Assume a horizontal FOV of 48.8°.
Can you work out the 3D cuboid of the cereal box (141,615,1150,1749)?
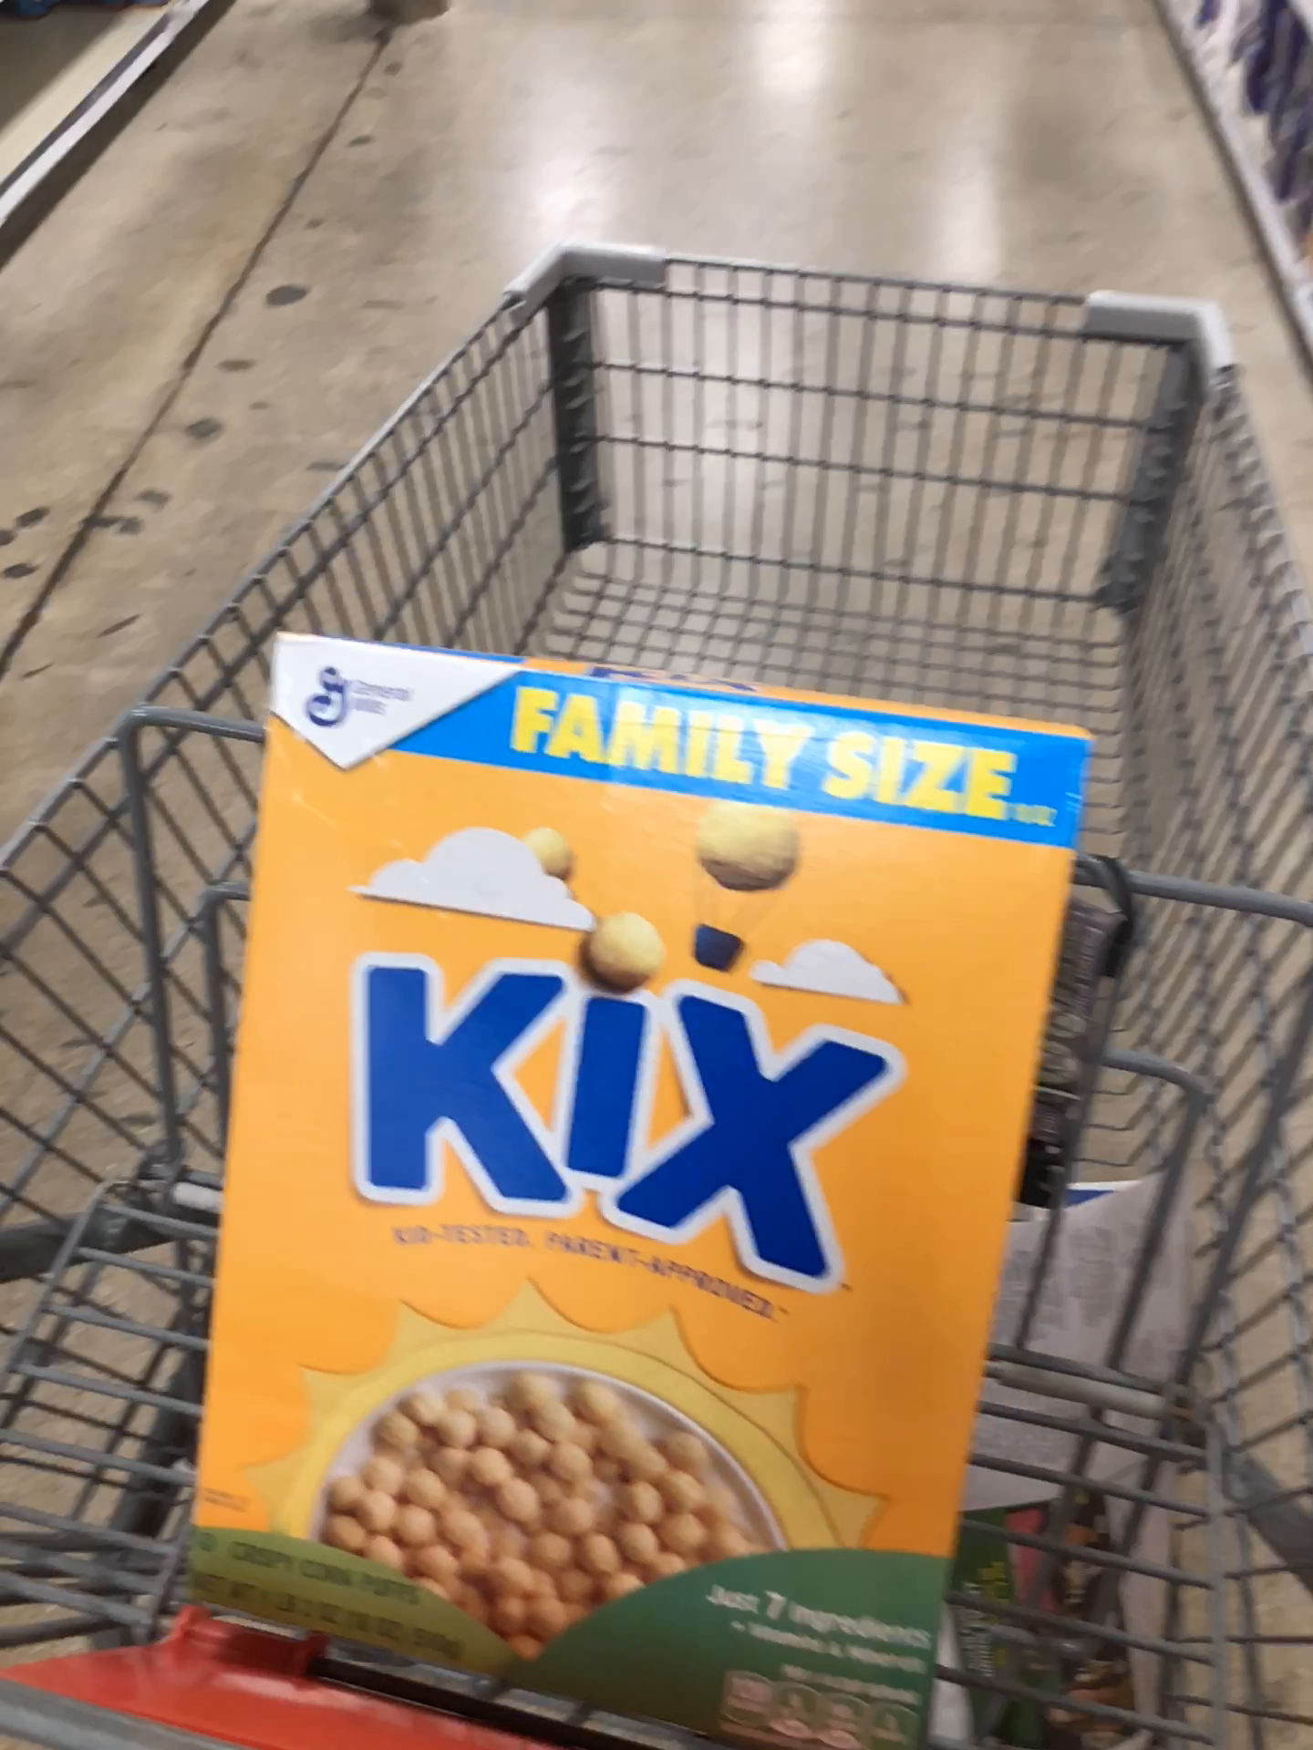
[{"bbox_3d":[-0.012,0.097,0.457,0.260,0.320,0.070,9,8,9],"label":"cereal box"}]
